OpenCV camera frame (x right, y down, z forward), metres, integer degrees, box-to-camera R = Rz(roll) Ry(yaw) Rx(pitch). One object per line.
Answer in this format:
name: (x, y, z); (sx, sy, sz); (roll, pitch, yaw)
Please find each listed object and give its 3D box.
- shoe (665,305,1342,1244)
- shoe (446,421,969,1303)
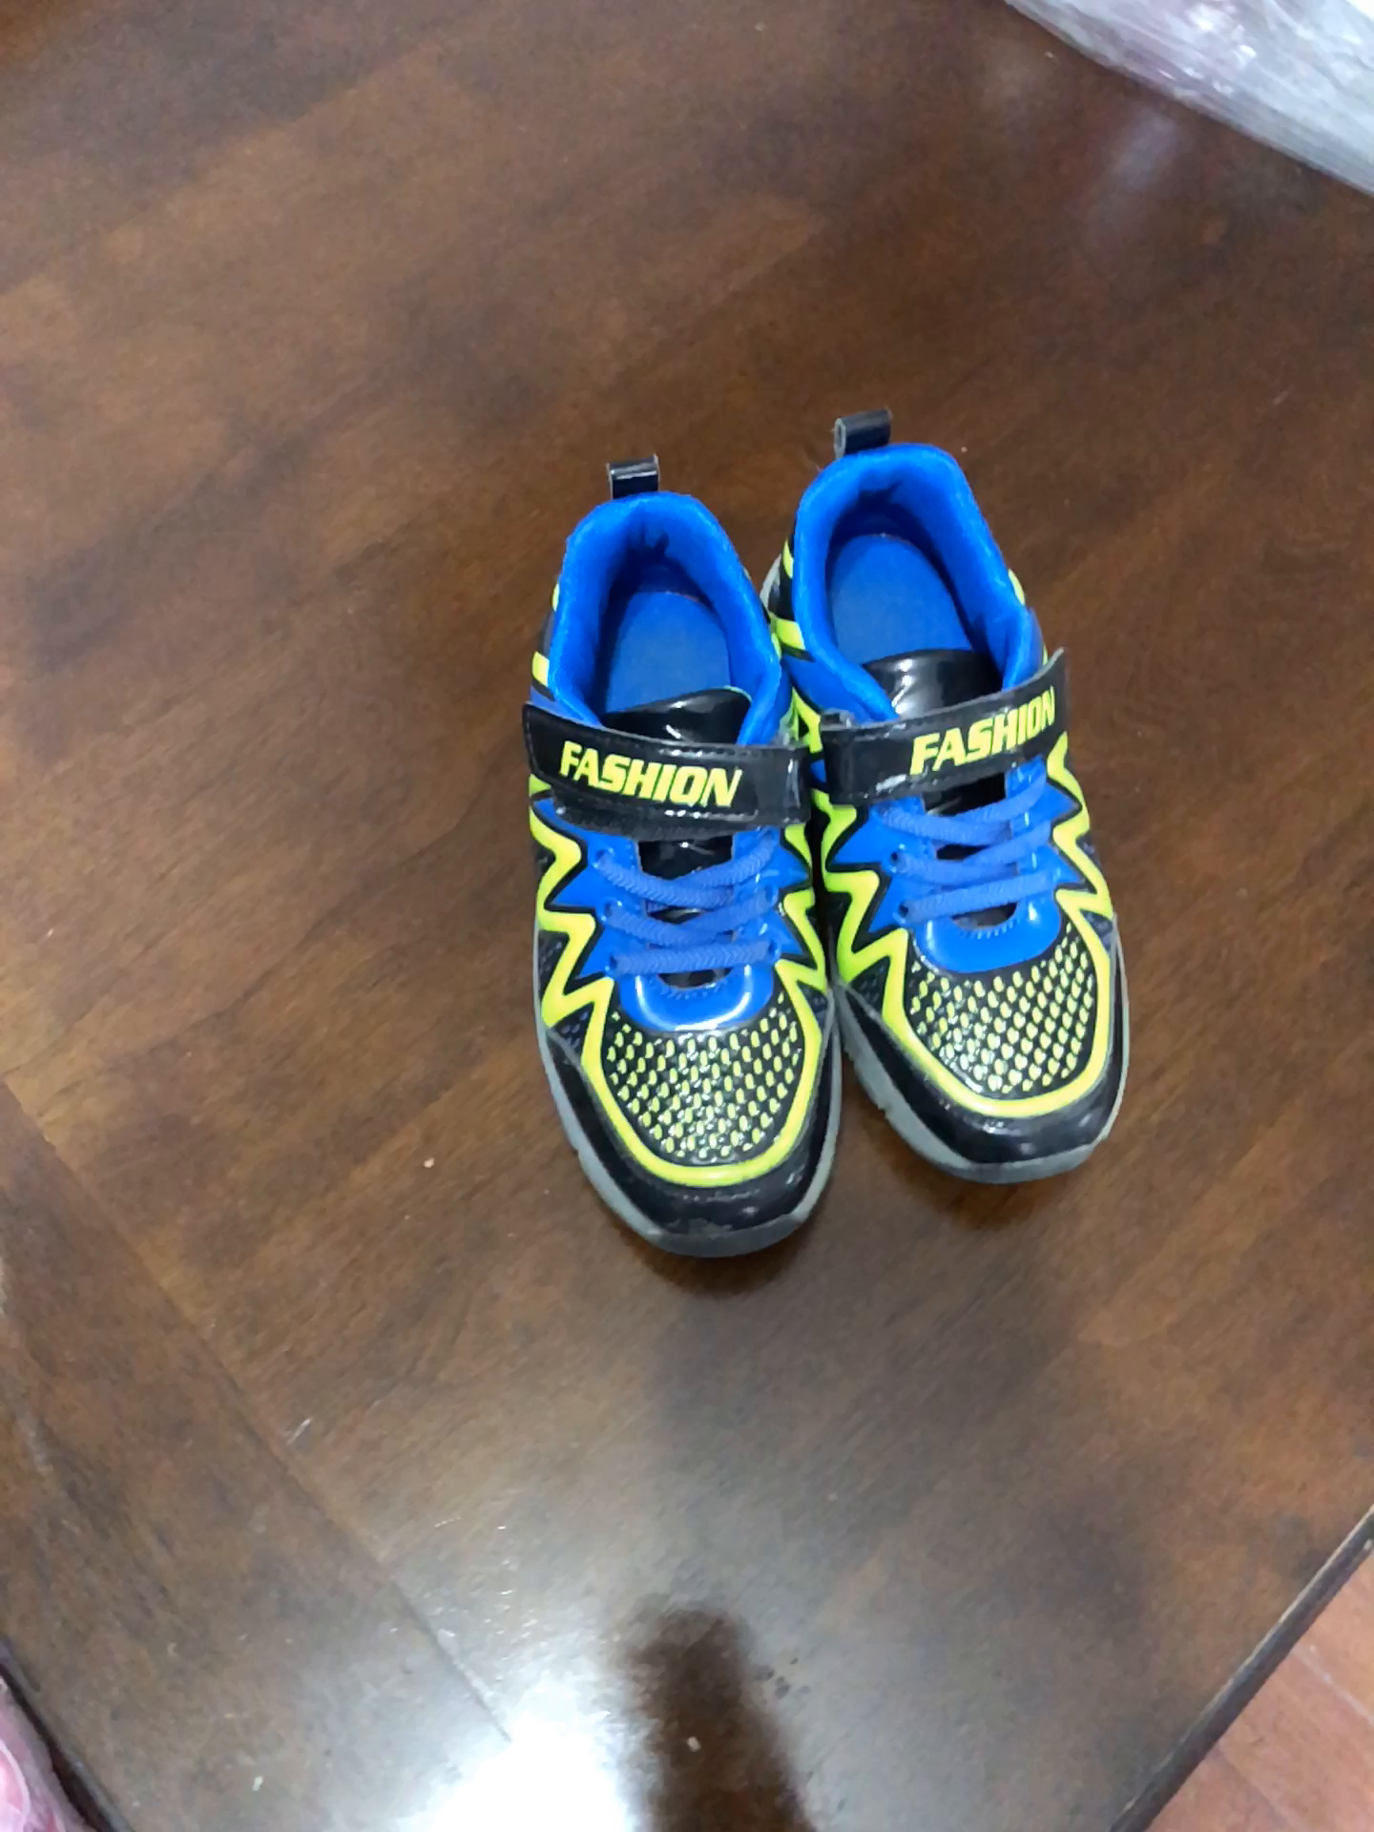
shoe: (0.073, -0.041, 0.445); (0.090, 0.120, 0.230); (-17, 66, -6)
shoe: (-0.001, -0.013, 0.438); (0.100, 0.120, 0.210); (-8, 65, -3)
